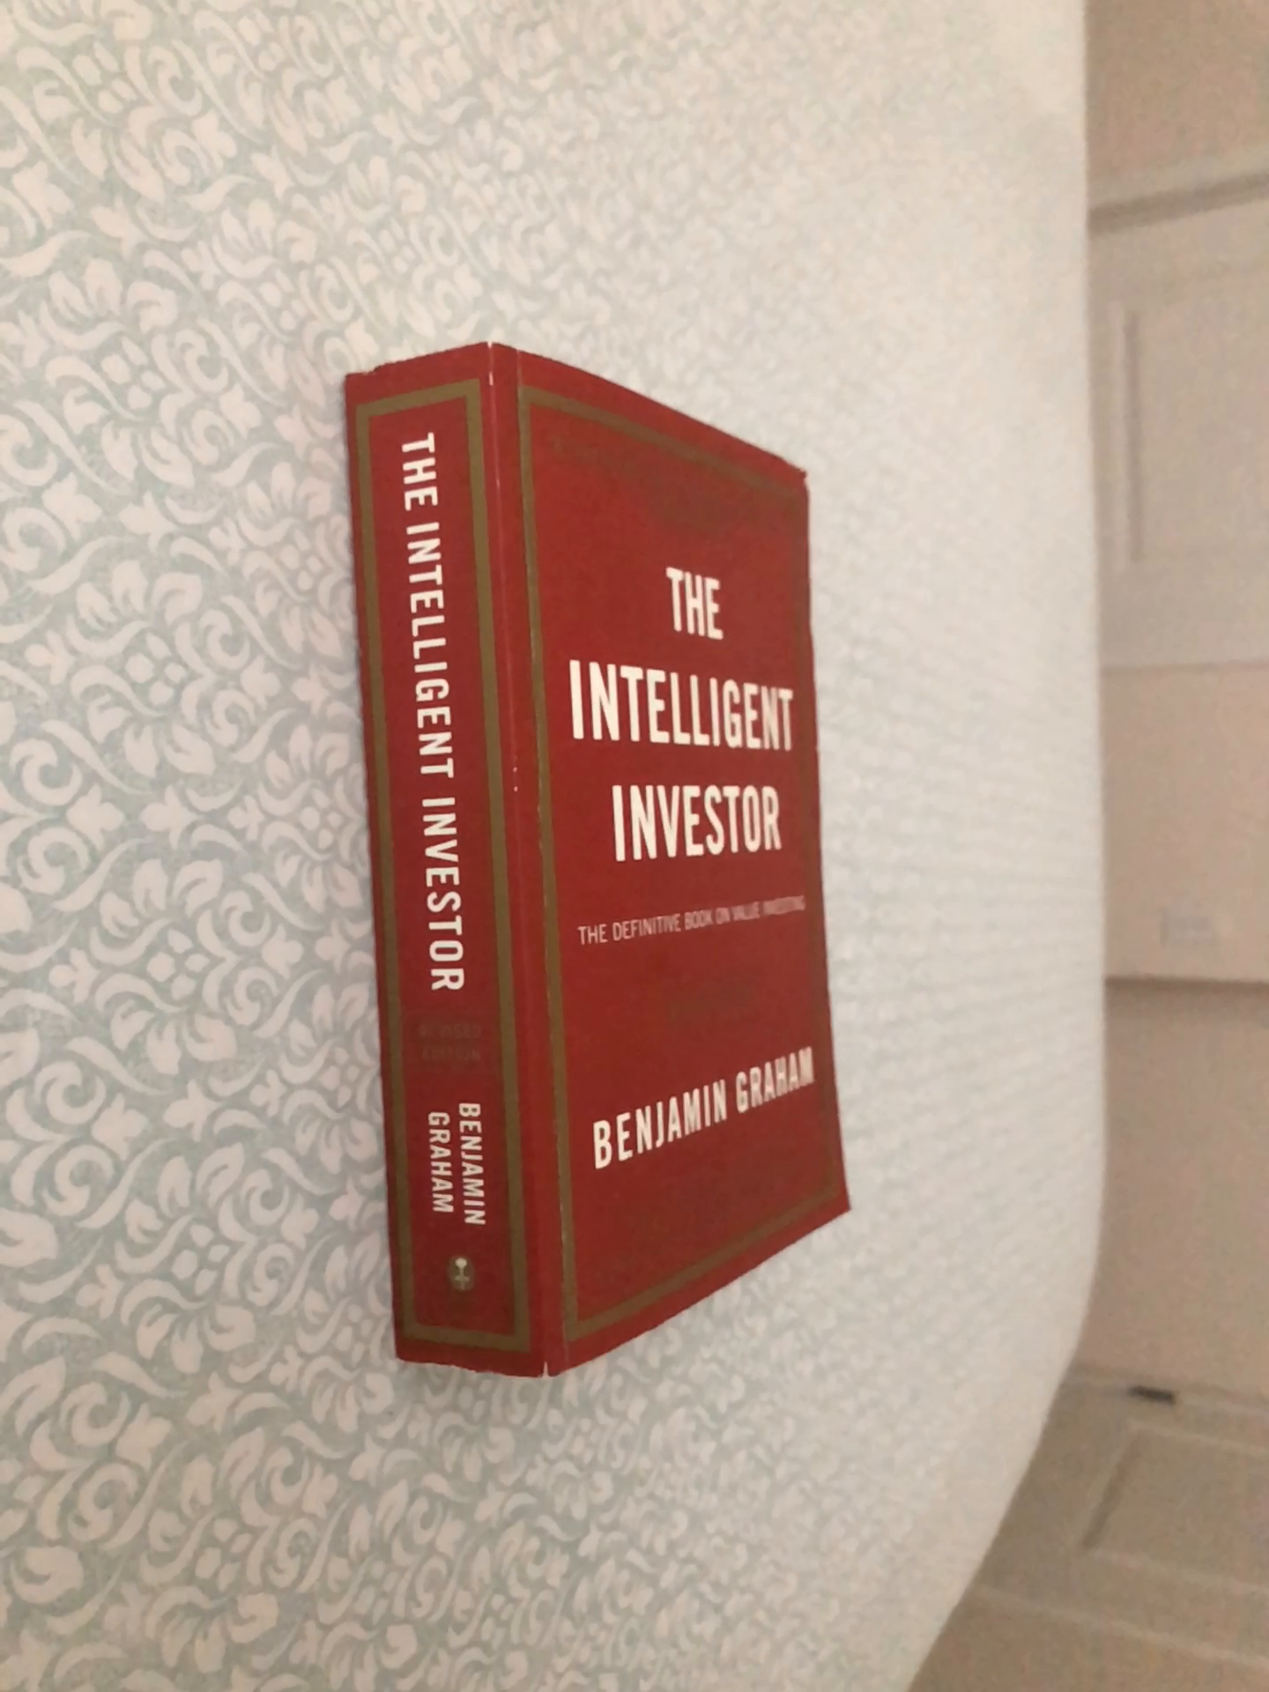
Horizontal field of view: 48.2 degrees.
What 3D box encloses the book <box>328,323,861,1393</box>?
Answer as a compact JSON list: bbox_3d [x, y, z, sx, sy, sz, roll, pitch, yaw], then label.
[{"bbox_3d":[-0.001,0.001,0.333,0.131,0.050,0.200,-4,92,-57],"label":"book"}]
